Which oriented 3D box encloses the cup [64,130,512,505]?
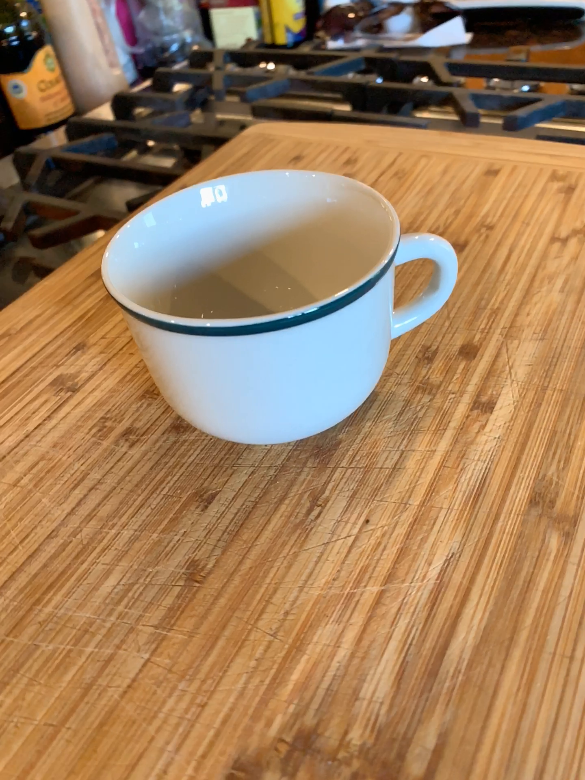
[{"bbox_3d":[-0.007,-0.031,0.209,0.120,0.060,0.090,-16,44,-7],"label":"cup"}]
